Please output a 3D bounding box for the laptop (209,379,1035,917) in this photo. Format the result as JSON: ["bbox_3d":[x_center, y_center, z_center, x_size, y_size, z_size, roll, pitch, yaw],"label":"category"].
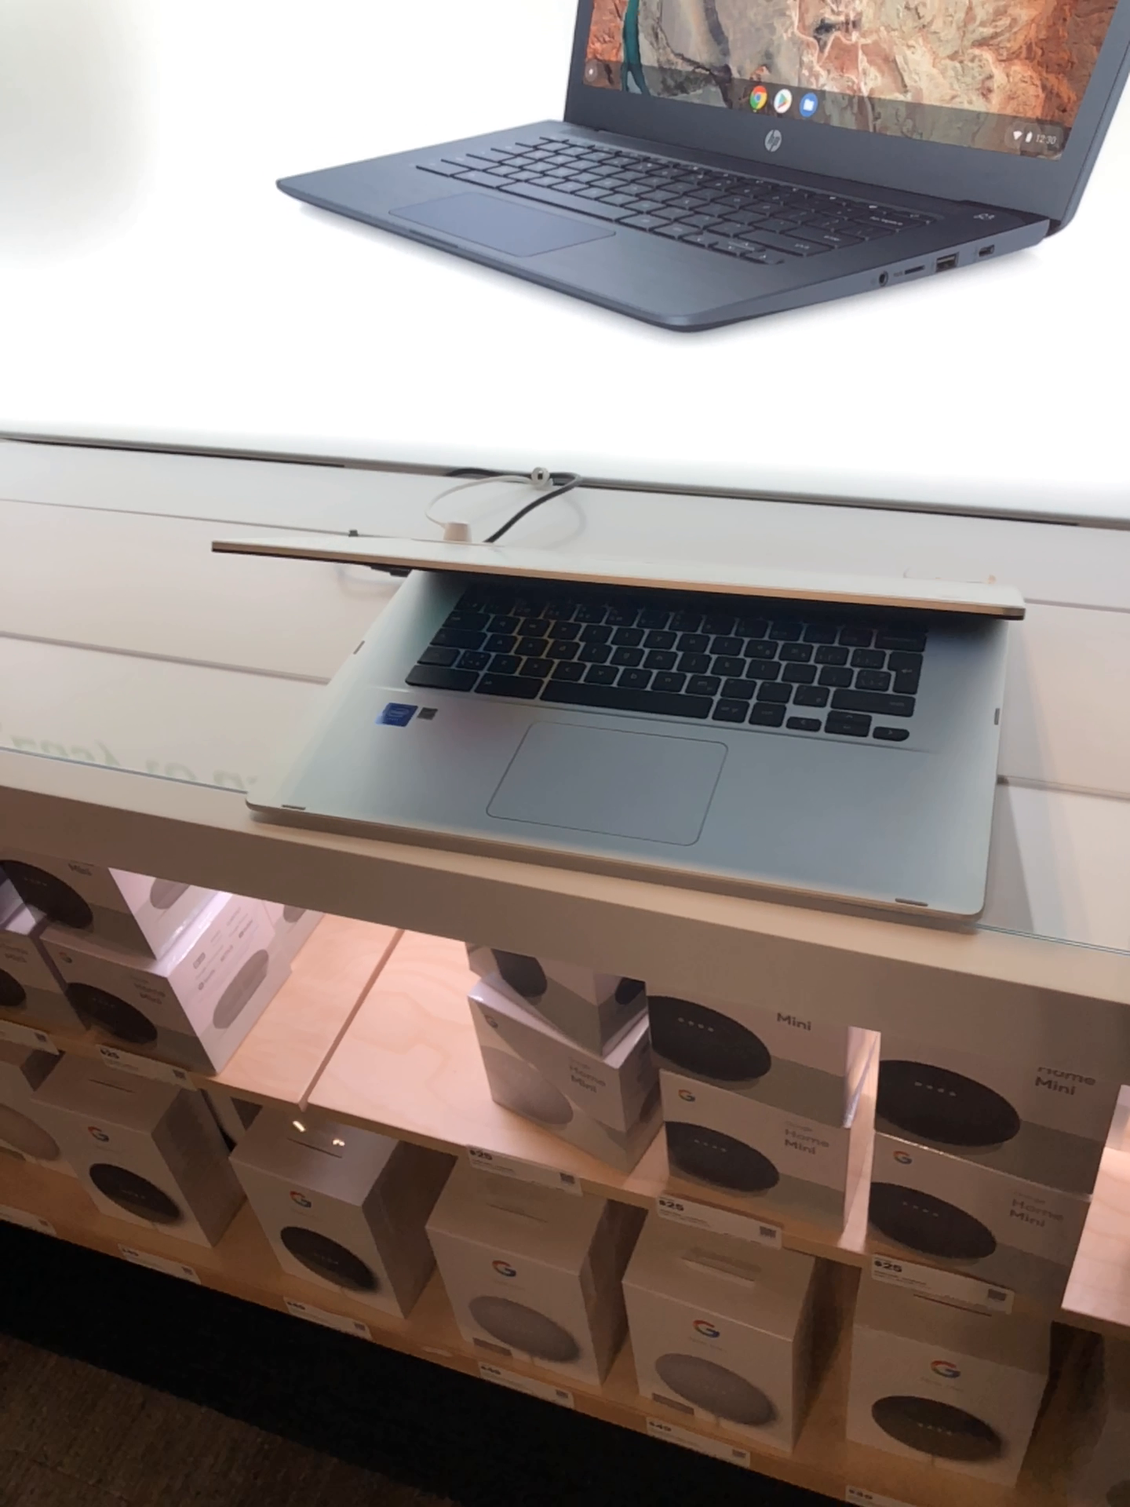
[{"bbox_3d":[0.037,-0.074,0.608,0.341,0.113,0.222,8,44,20],"label":"laptop"}]
